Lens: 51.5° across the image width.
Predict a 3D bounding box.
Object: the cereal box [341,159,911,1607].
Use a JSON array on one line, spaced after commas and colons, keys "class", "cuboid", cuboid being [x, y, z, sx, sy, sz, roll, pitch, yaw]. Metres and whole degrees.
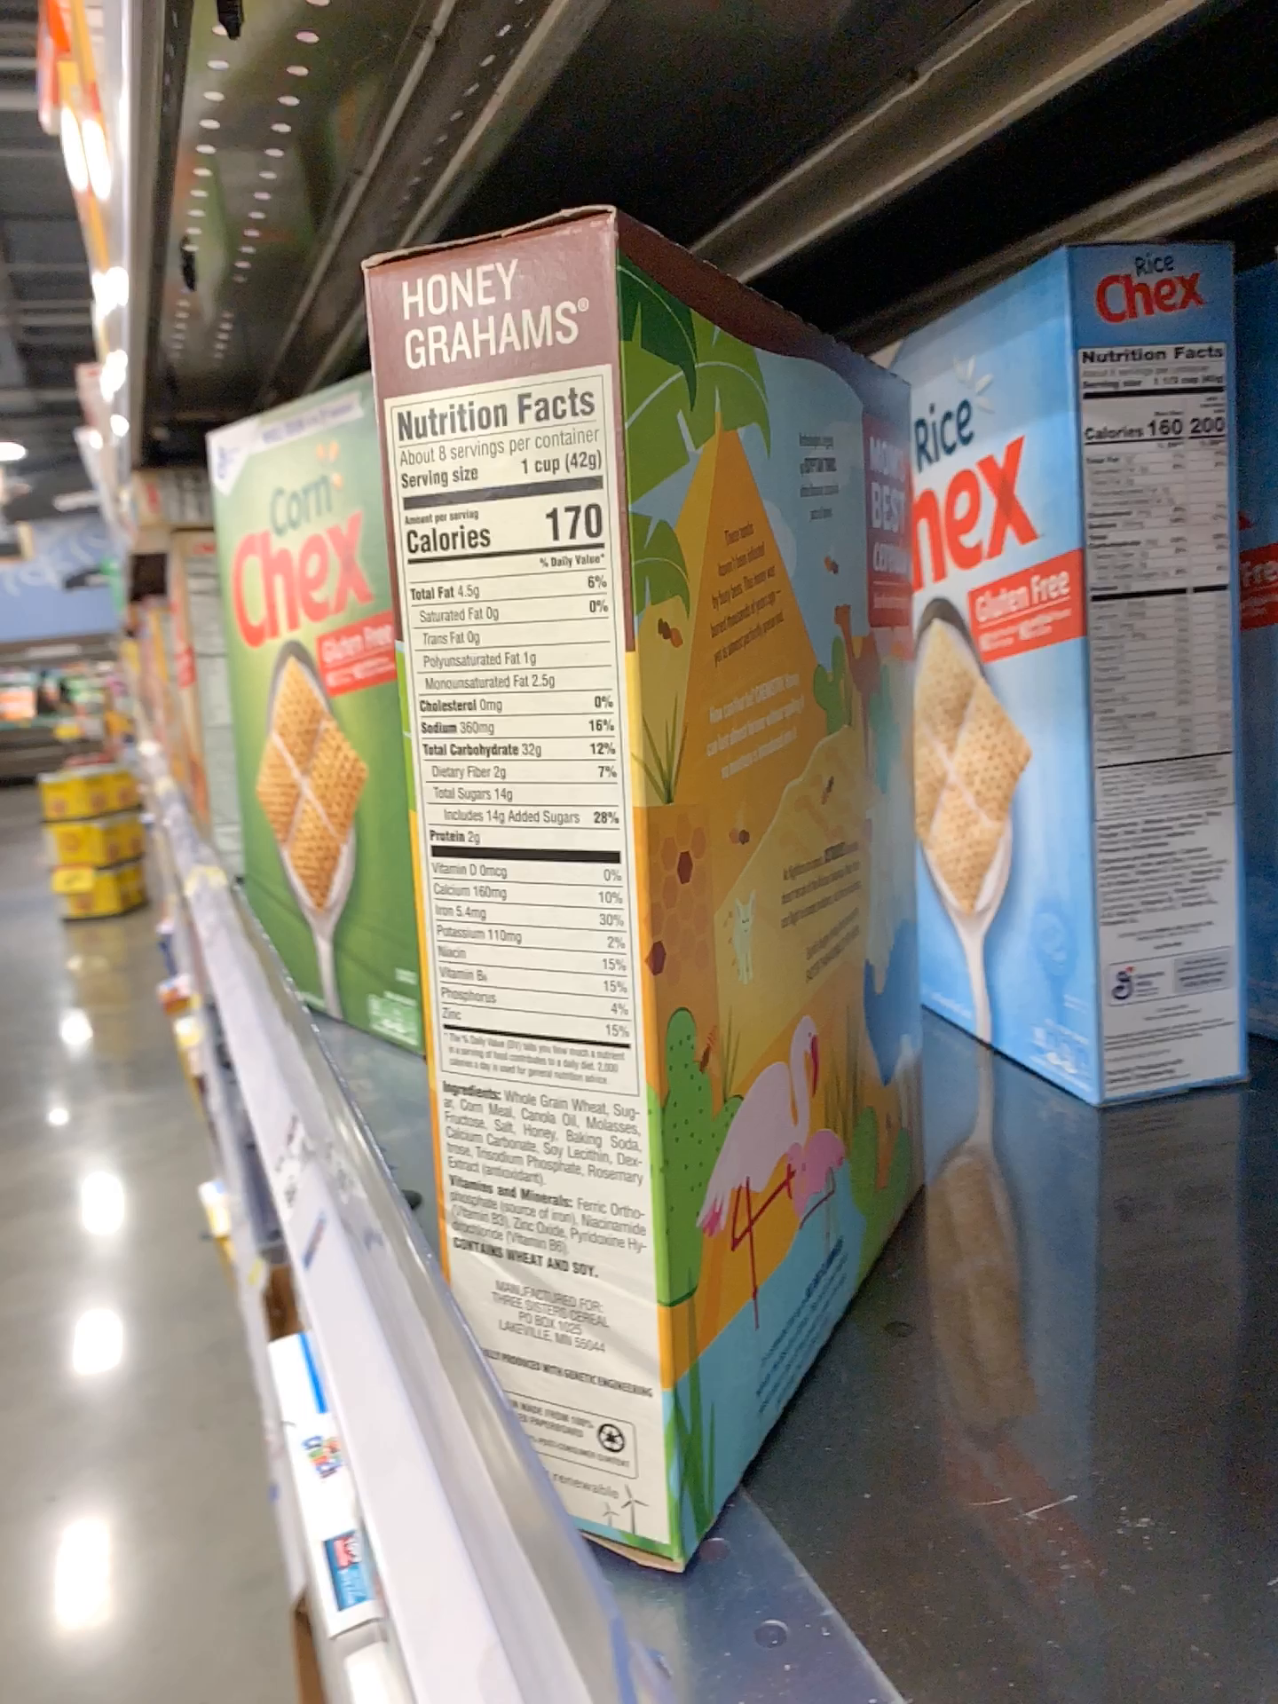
[{"class": "cereal box", "cuboid": [0.018, -0.001, 0.334, 0.050, 0.259, 0.200, 2, 9, 26]}]
